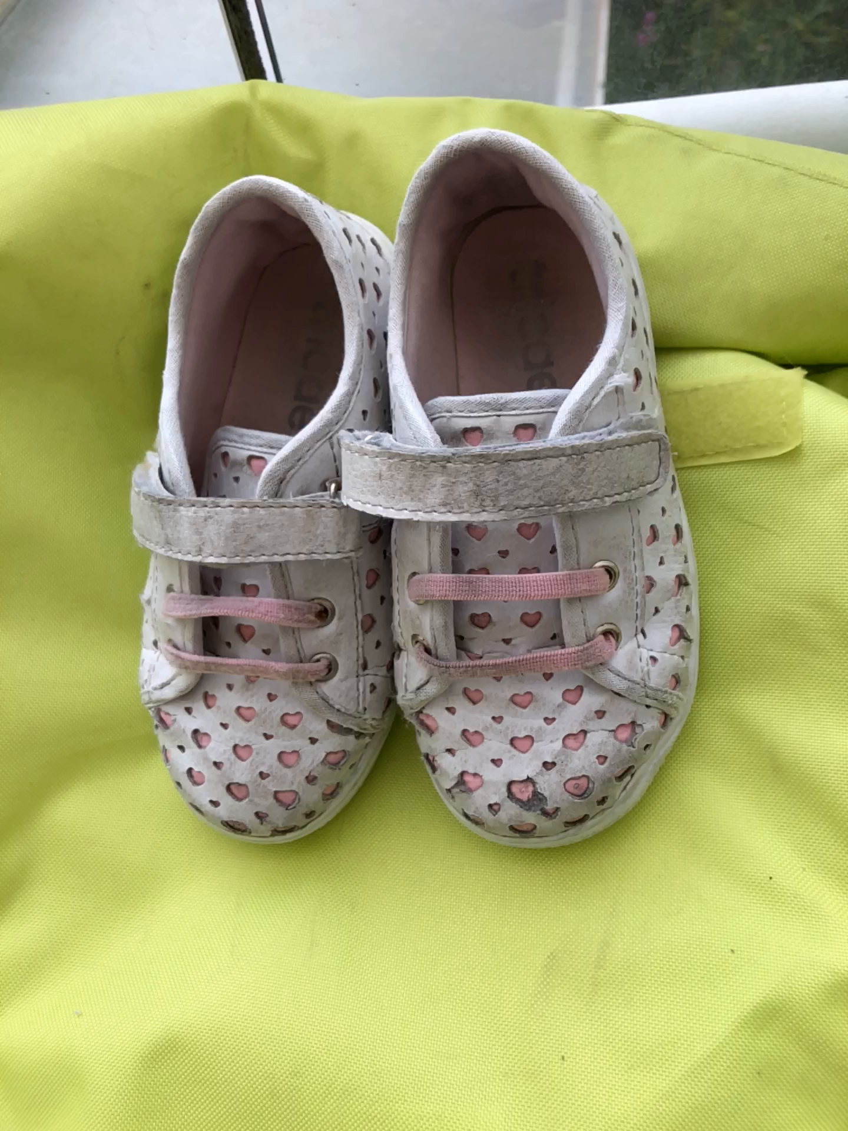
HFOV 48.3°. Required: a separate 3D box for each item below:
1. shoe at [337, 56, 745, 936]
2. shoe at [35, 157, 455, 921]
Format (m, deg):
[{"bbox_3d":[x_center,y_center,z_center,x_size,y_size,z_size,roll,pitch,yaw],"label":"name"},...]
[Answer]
[{"bbox_3d":[0.027,-0.014,0.224,0.080,0.060,0.176,-1,89,9],"label":"shoe"},{"bbox_3d":[-0.046,-0.009,0.256,0.080,0.060,0.175,7,95,14],"label":"shoe"}]
